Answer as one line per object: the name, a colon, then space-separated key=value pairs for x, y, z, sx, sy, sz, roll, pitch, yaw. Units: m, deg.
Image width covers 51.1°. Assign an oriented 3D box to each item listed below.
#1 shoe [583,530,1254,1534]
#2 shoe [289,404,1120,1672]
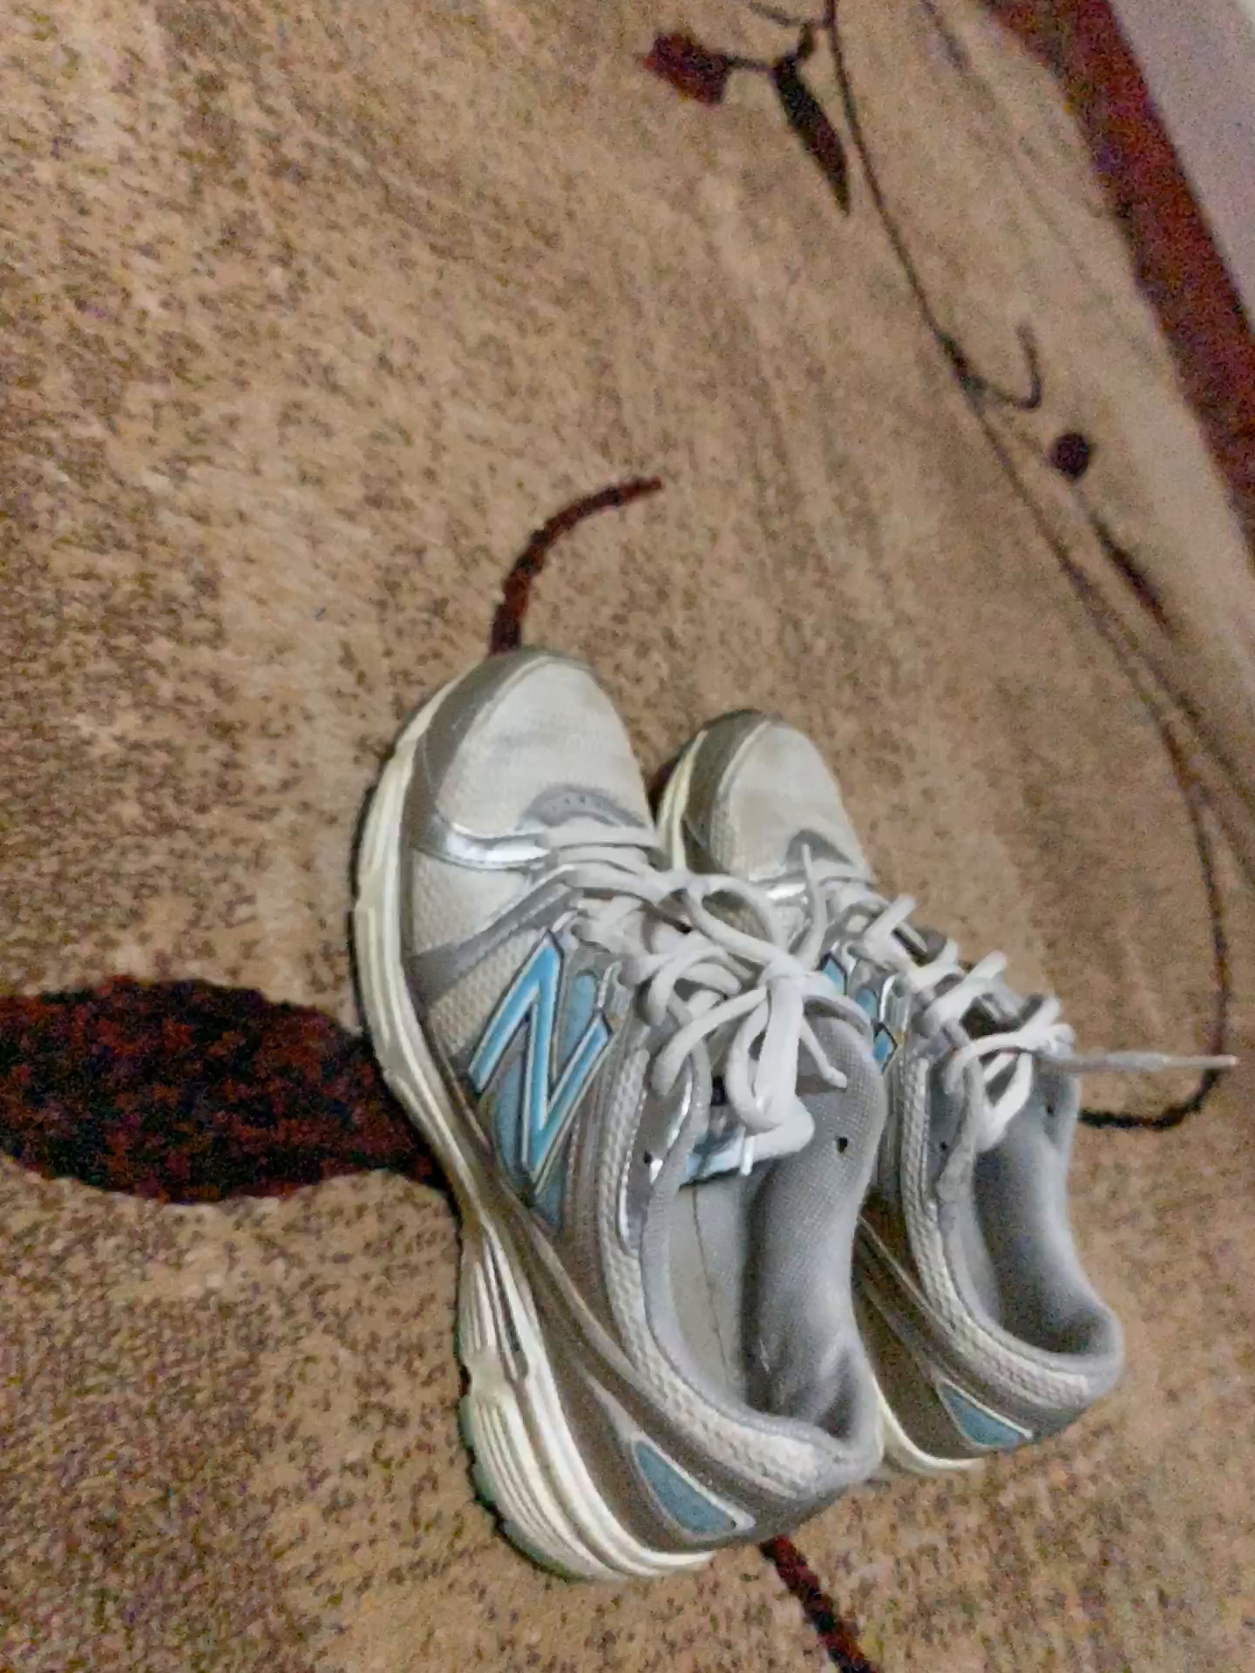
shoe: x=0.095 y=0.061 z=0.438 sx=0.104 sy=0.124 sz=0.283 roll=2 pitch=67 yaw=-44
shoe: x=0.006 y=0.050 z=0.359 sx=0.112 sy=0.124 sz=0.283 roll=4 pitch=66 yaw=-43
